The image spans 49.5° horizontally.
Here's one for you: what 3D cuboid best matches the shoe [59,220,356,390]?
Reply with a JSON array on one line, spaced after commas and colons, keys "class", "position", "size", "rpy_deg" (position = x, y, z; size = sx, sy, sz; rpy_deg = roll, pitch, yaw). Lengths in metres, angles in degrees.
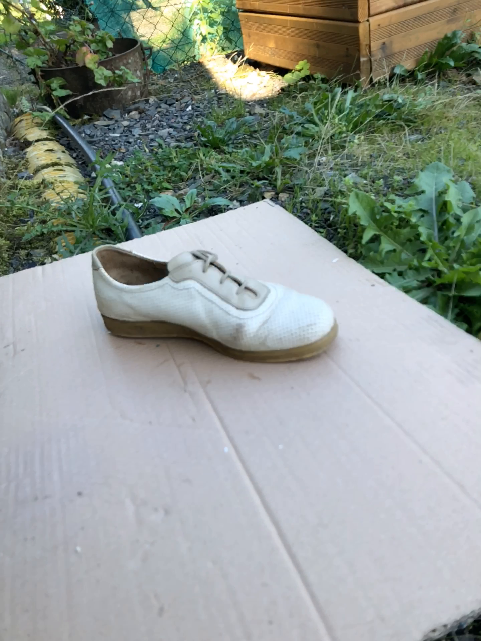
[{"class": "shoe", "position": [-0.032, -0.024, 0.502], "size": [0.260, 0.090, 0.091], "rpy_deg": [10, 44, 26]}]
